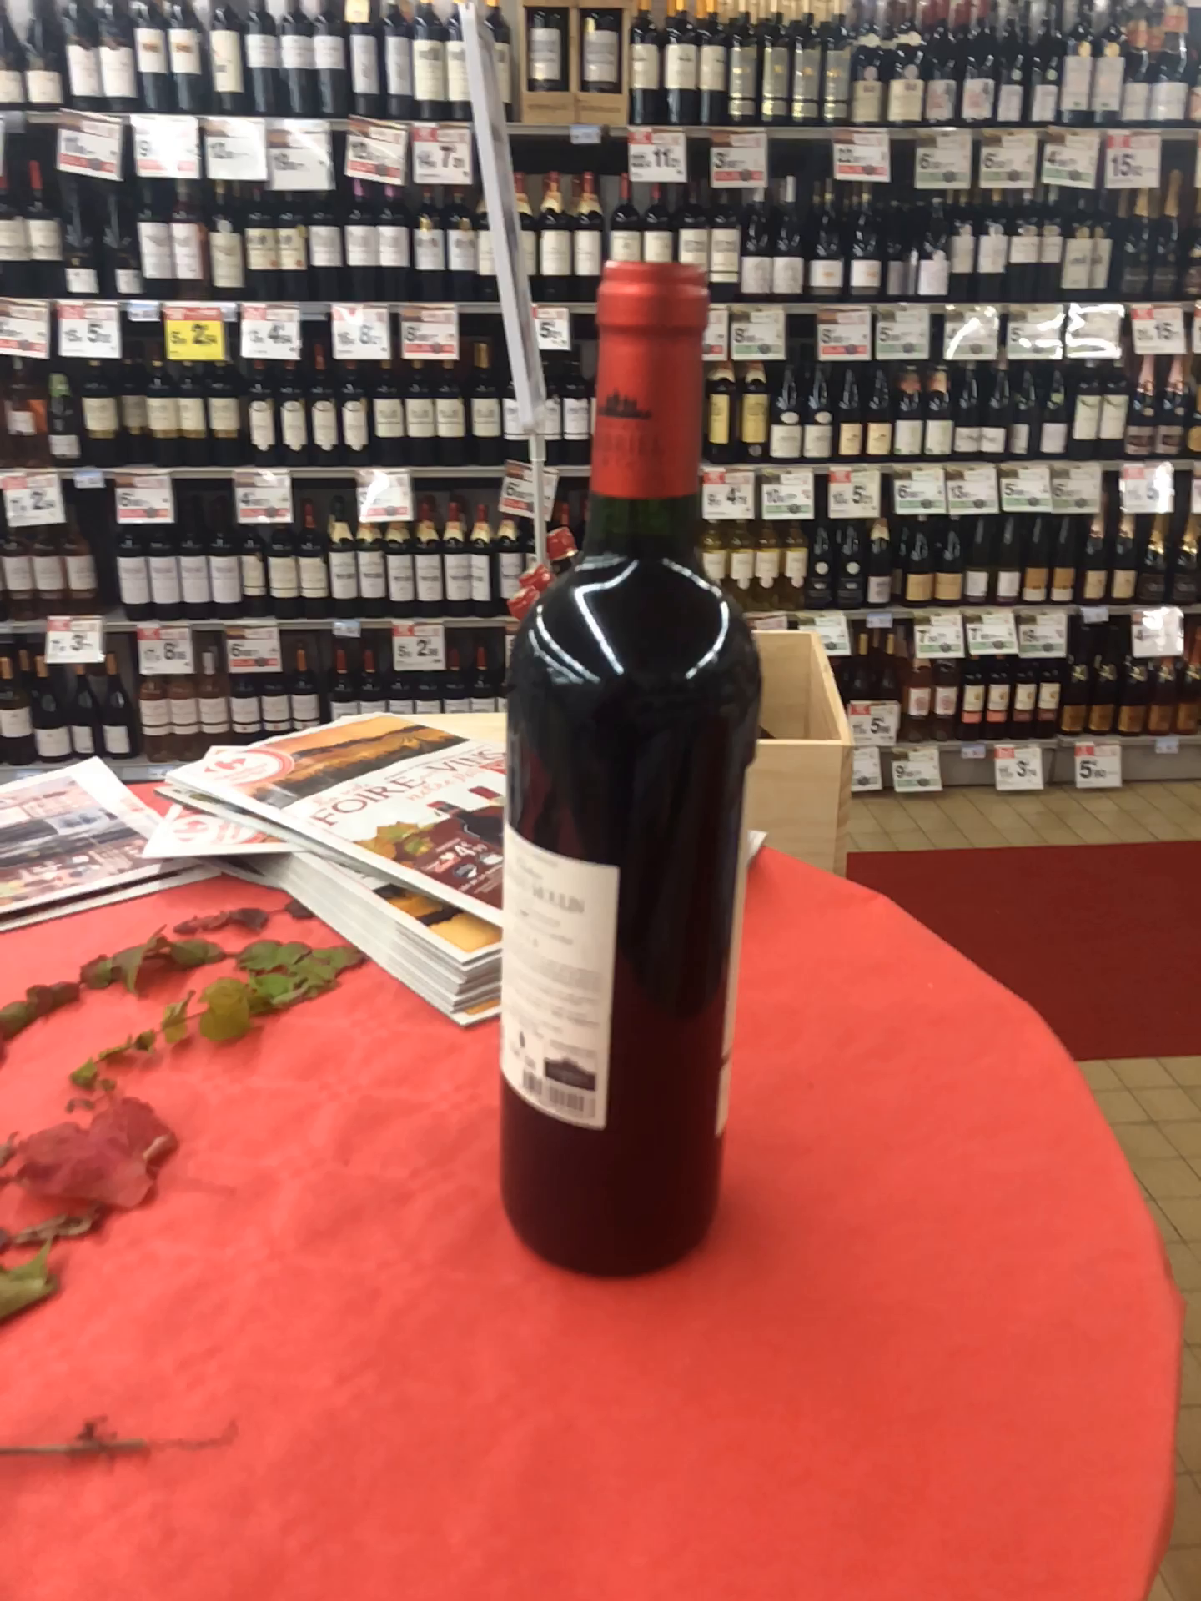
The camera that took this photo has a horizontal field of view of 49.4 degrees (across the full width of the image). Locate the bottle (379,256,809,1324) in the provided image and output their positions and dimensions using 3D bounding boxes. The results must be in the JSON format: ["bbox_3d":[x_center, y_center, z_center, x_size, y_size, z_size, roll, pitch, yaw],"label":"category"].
[{"bbox_3d":[-0.003,-0.002,0.395,0.080,0.298,0.080,0,21,0],"label":"bottle"}]
